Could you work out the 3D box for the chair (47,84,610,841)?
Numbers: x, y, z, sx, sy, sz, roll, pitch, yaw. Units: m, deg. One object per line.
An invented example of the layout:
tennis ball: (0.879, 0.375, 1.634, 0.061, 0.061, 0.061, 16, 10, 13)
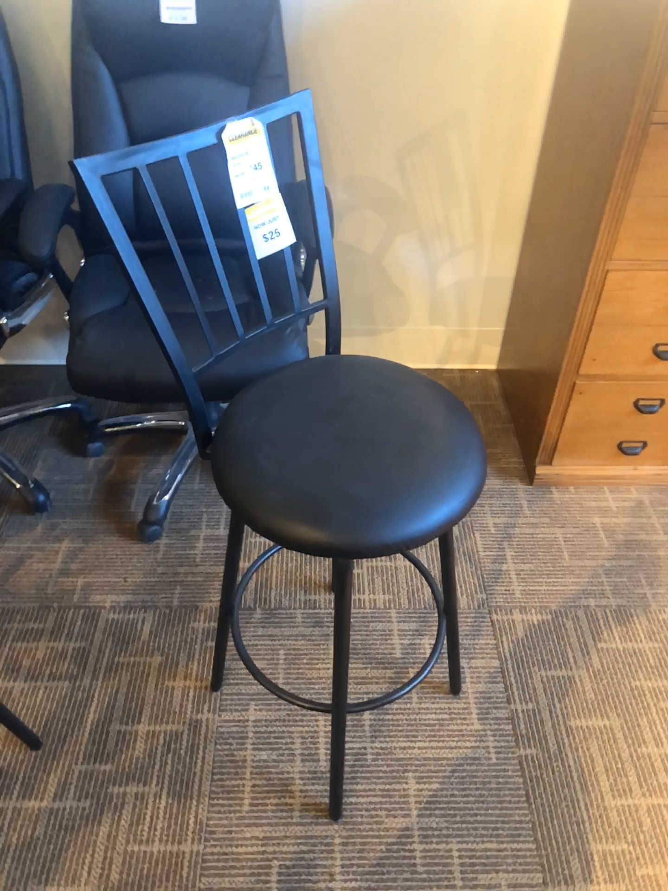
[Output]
chair: (-0.014, 0.085, 1.189, 0.481, 1.074, 0.431, 31, 49, 30)
